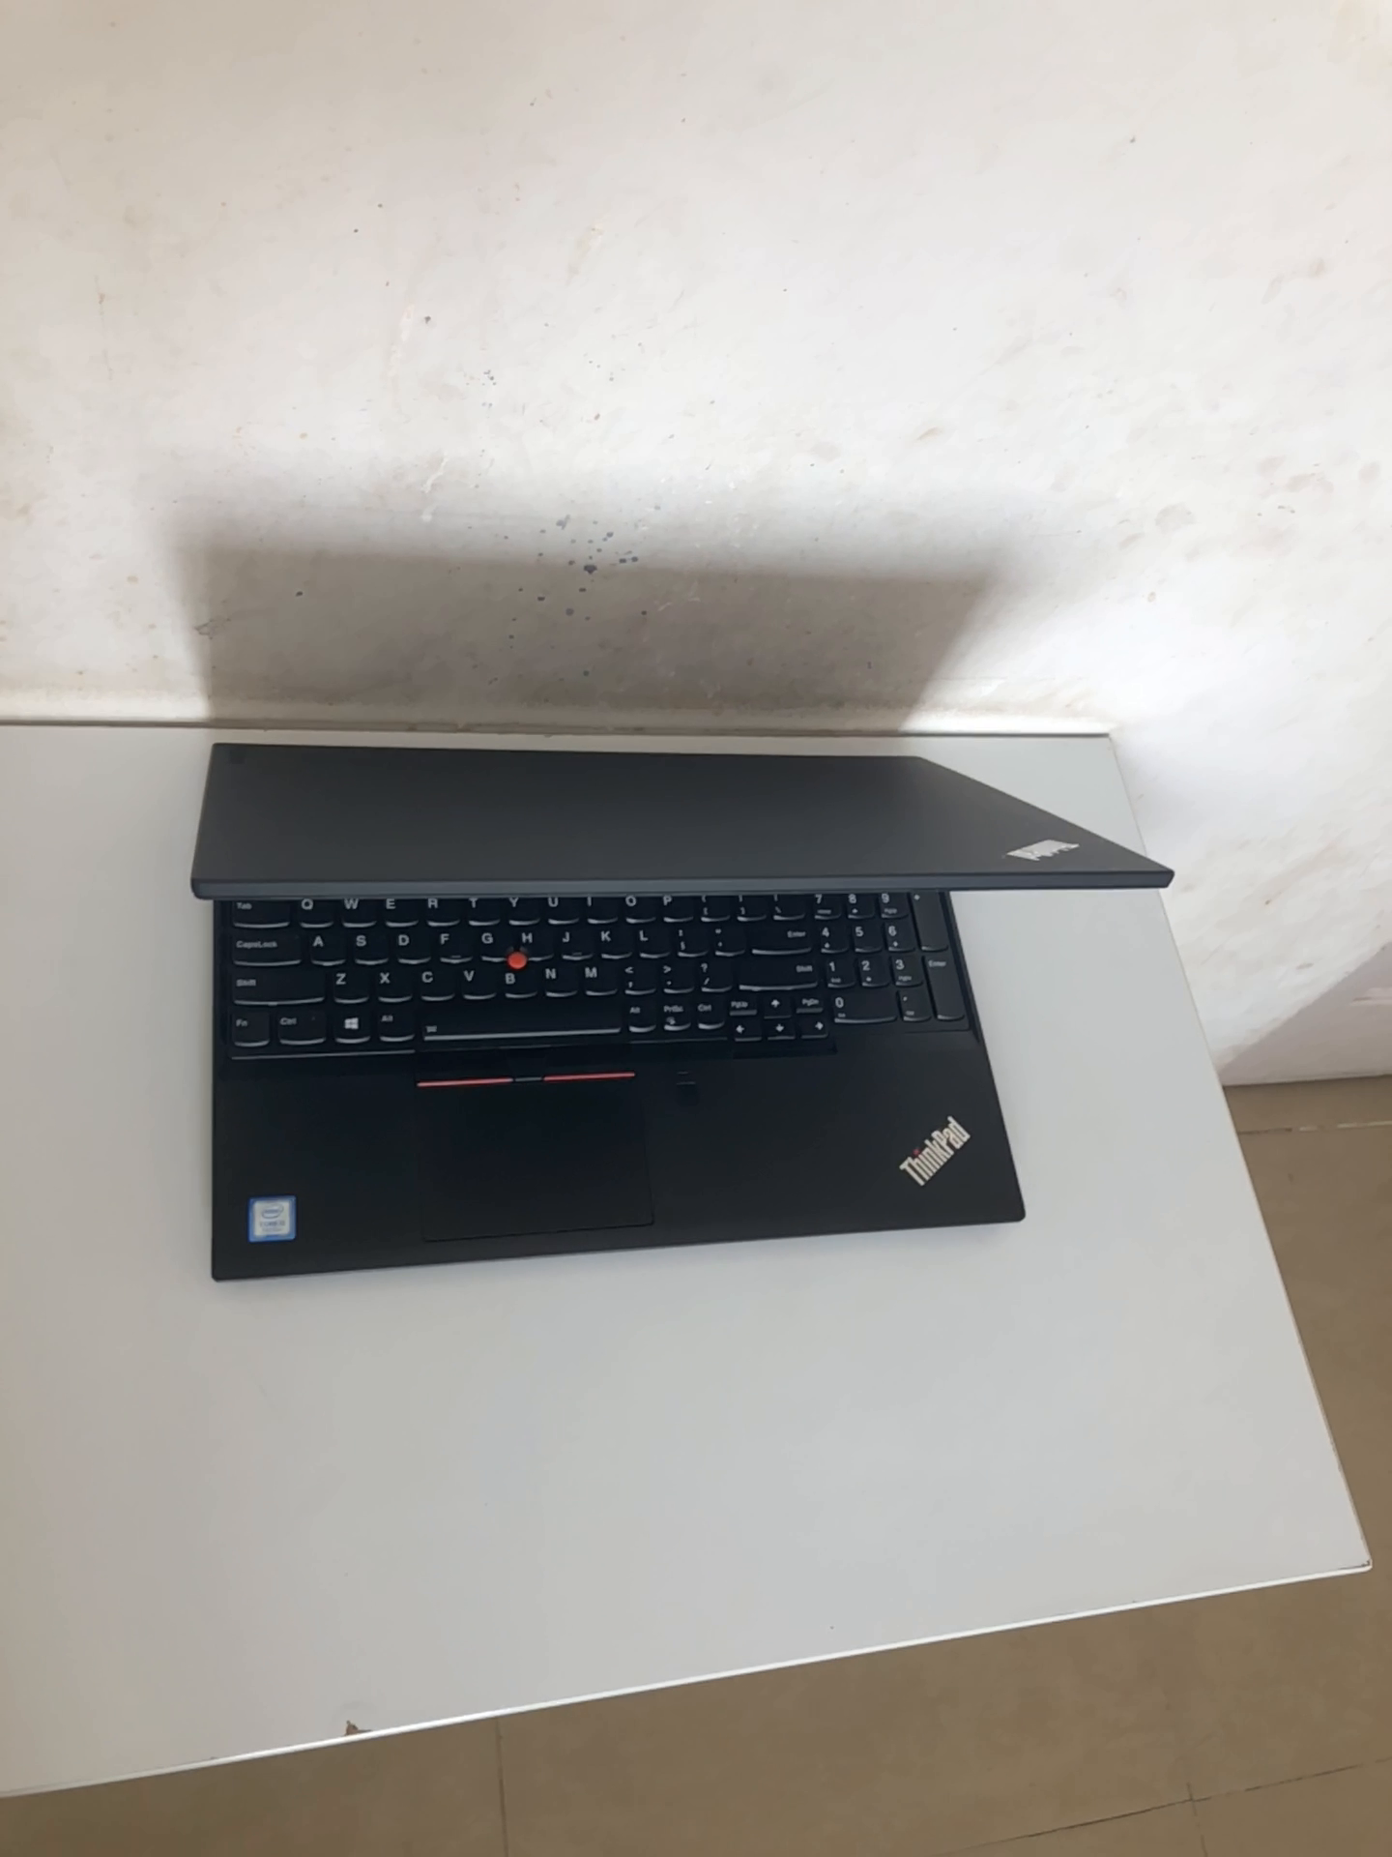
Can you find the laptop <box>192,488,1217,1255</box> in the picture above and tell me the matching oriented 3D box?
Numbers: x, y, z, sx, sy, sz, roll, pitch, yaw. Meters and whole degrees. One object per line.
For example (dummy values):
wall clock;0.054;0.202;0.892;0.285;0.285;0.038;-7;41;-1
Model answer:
laptop;-0.019;-0.016;0.626;0.347;0.173;0.234;-1;64;-15
